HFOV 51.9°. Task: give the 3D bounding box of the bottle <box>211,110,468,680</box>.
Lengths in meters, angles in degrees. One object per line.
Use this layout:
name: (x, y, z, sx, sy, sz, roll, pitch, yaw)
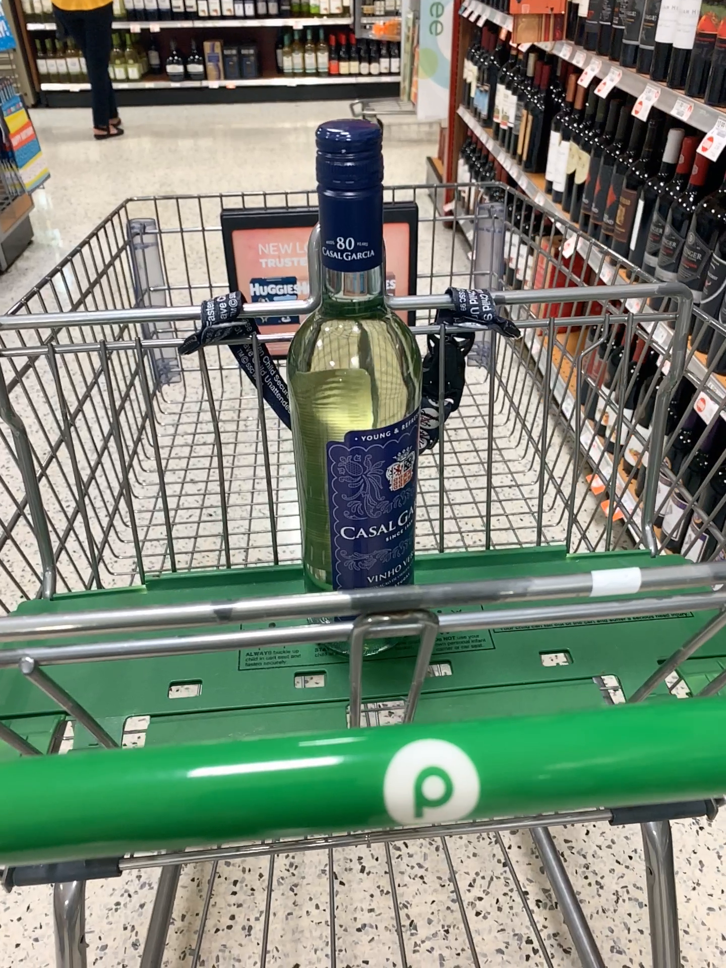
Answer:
bottle: (-0.008, -0.034, 0.416, 0.080, 0.297, 0.080, -1, 36, 1)
